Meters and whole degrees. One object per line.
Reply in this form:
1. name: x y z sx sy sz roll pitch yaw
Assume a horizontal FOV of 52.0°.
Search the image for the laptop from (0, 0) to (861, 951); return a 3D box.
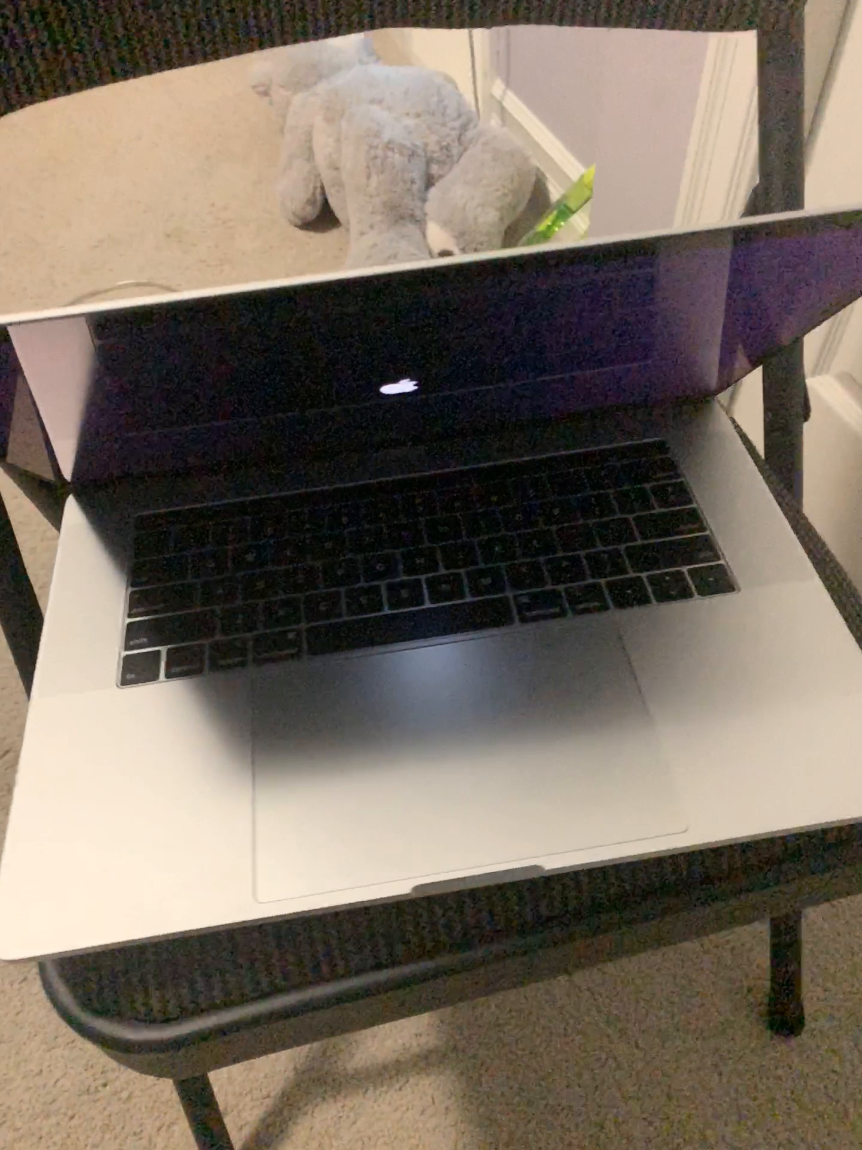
1. laptop: -0.008 -0.040 0.311 0.334 0.189 0.232 -9 51 -2
